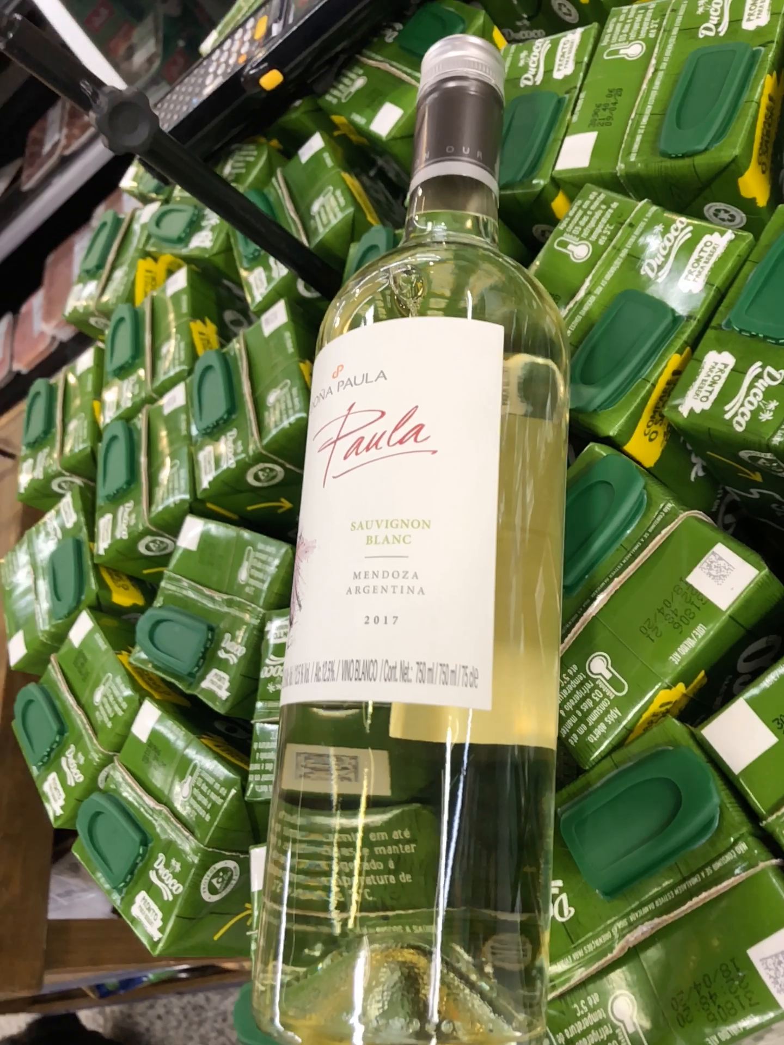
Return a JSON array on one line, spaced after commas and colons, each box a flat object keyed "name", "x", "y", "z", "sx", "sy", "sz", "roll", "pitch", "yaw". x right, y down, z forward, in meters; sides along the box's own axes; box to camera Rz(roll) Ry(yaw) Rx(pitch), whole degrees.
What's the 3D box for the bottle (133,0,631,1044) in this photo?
[{"name": "bottle", "x": 0.014, "y": -0.041, "z": 0.248, "sx": 0.080, "sy": 0.070, "sz": 0.331, "roll": -10, "pitch": 63, "yaw": 37}]
